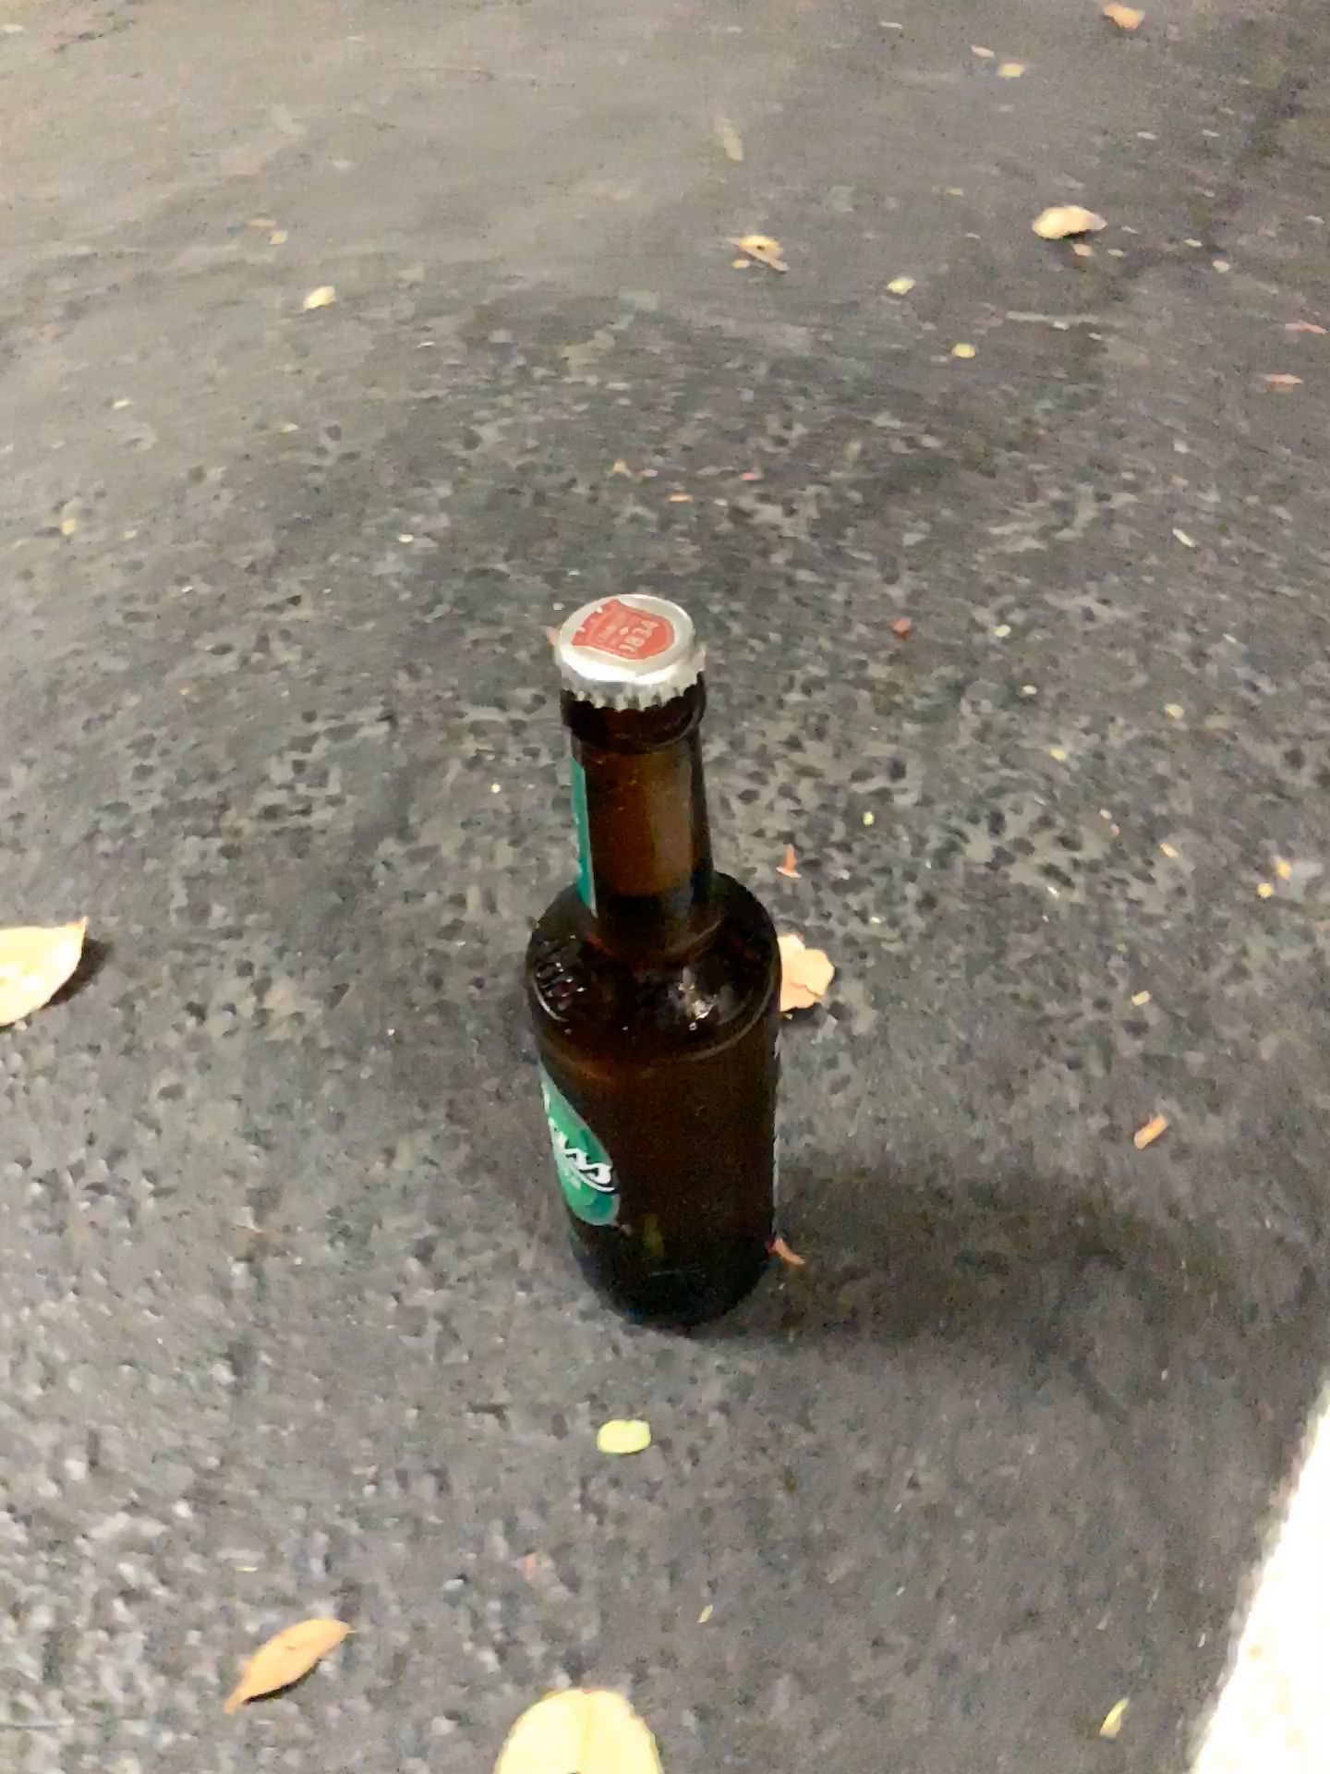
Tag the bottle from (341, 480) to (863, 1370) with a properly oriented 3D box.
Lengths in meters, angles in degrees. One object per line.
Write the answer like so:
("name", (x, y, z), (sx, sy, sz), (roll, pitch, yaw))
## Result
("bottle", (-0.007, 0.024, 0.343), (0.070, 0.210, 0.070), (-2, 50, 3))
